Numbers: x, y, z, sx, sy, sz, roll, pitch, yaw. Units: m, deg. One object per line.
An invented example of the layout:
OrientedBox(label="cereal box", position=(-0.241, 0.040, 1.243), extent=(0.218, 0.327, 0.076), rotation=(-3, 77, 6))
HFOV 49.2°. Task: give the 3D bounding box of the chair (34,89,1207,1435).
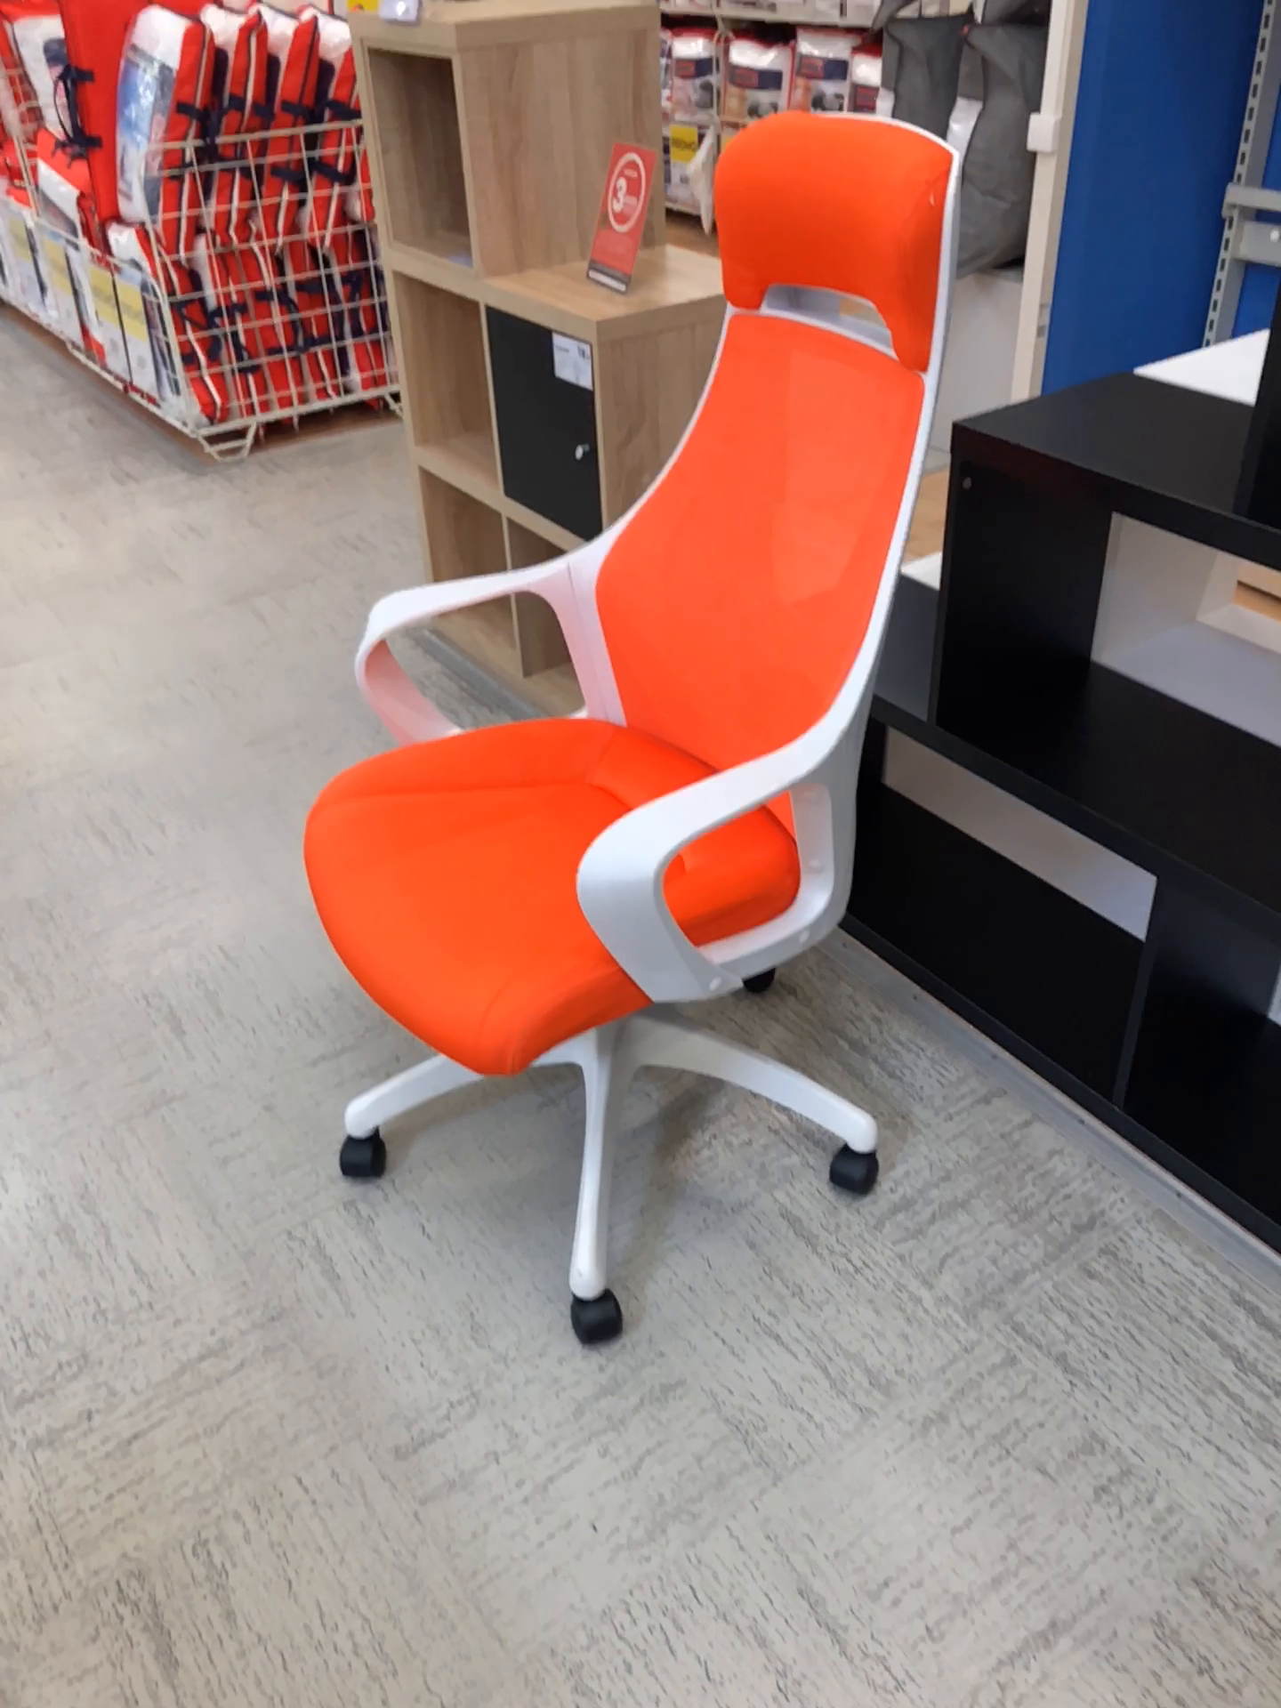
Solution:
OrientedBox(label="chair", position=(-0.035, -0.149, 1.471), extent=(0.753, 1.054, 0.682), rotation=(-20, 37, -24))
